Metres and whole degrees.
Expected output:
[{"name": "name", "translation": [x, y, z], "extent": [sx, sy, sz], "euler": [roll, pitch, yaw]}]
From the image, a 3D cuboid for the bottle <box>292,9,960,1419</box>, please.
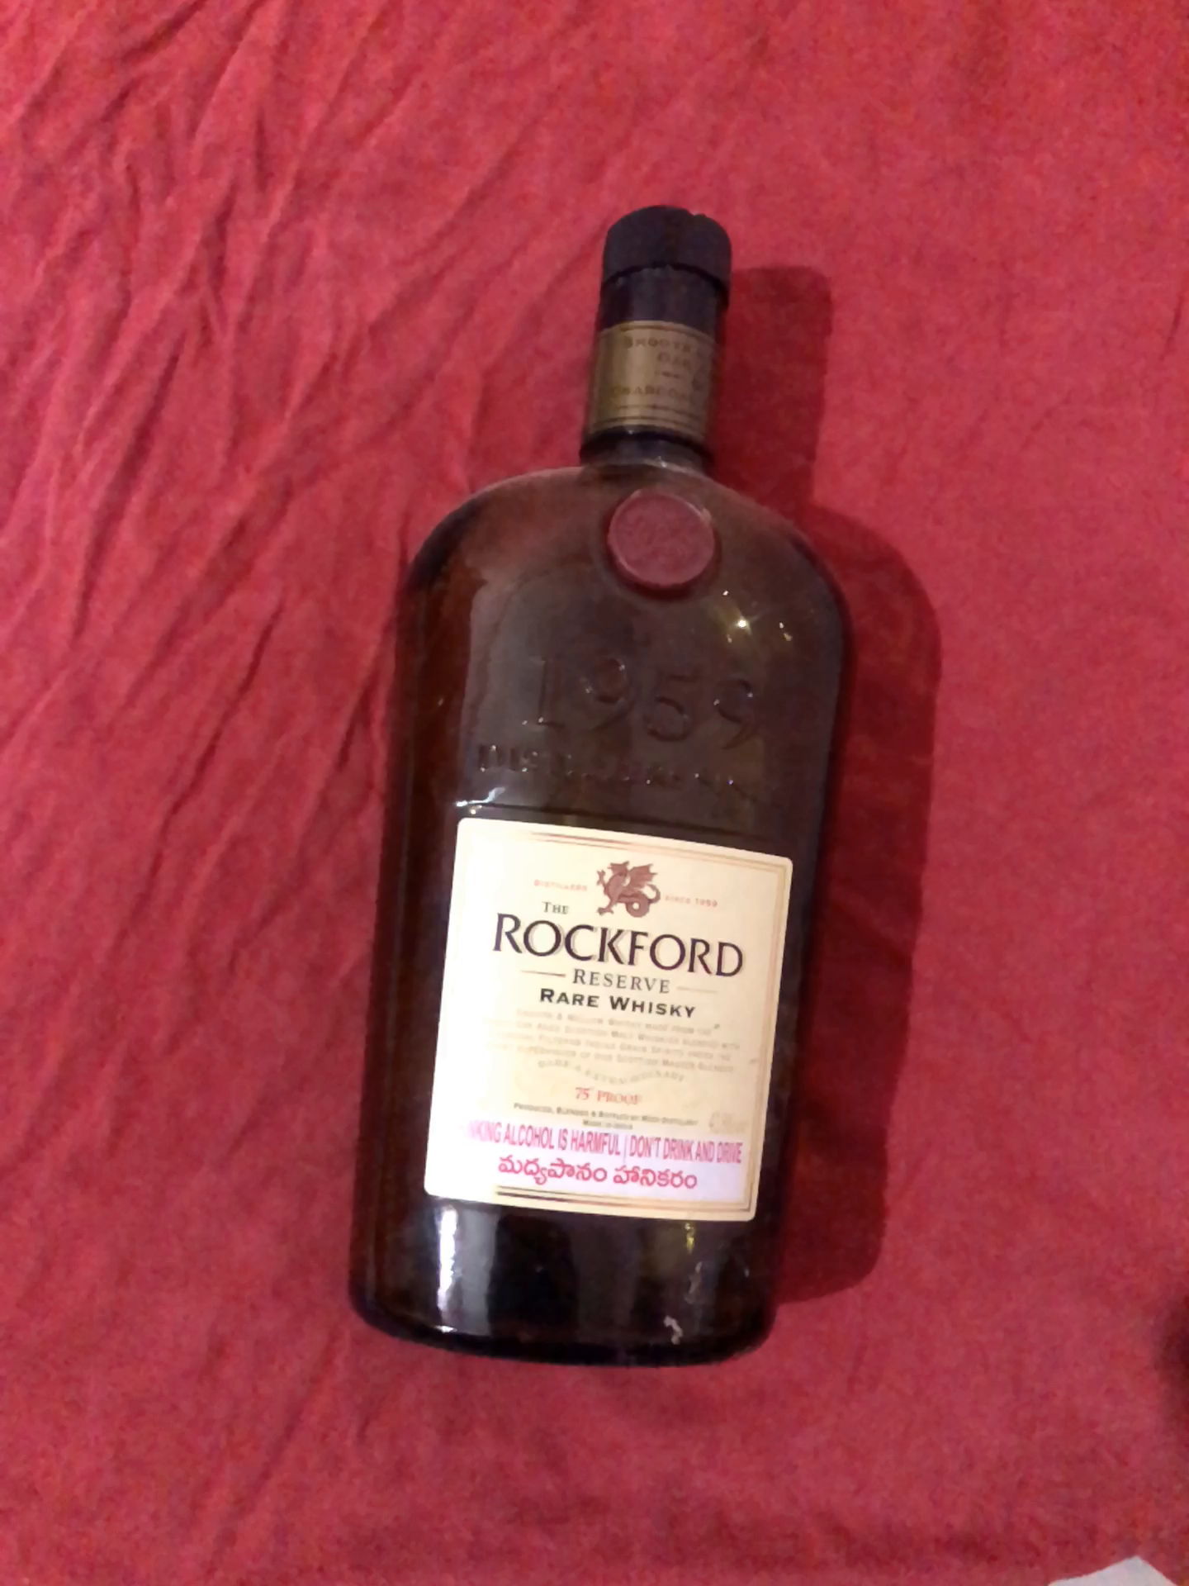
[{"name": "bottle", "translation": [0.008, -0.017, 0.270], "extent": [0.100, 0.060, 0.250], "euler": [7, 81, -7]}]
